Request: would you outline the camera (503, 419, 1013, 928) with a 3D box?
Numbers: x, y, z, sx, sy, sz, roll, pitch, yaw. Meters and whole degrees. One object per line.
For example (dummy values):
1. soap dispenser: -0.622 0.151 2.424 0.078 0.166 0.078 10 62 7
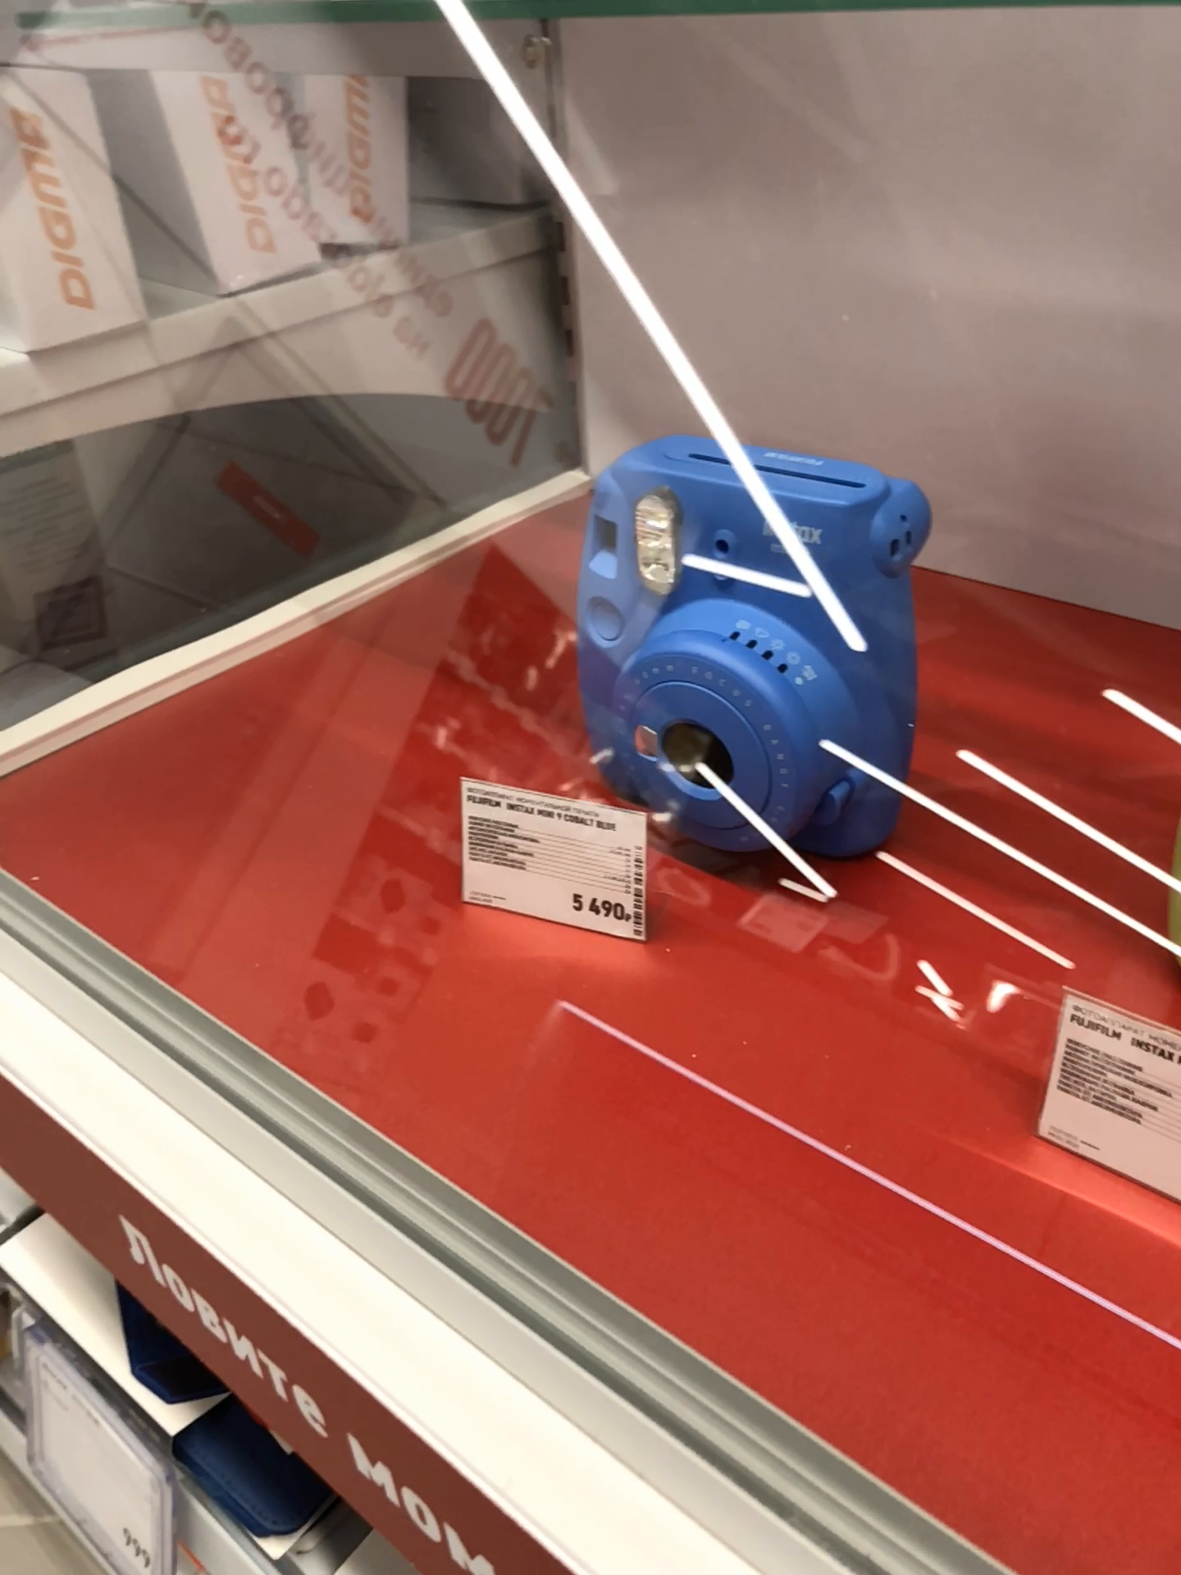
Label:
1. camera: 0.049 -0.039 0.393 0.123 0.109 0.070 18 39 31
